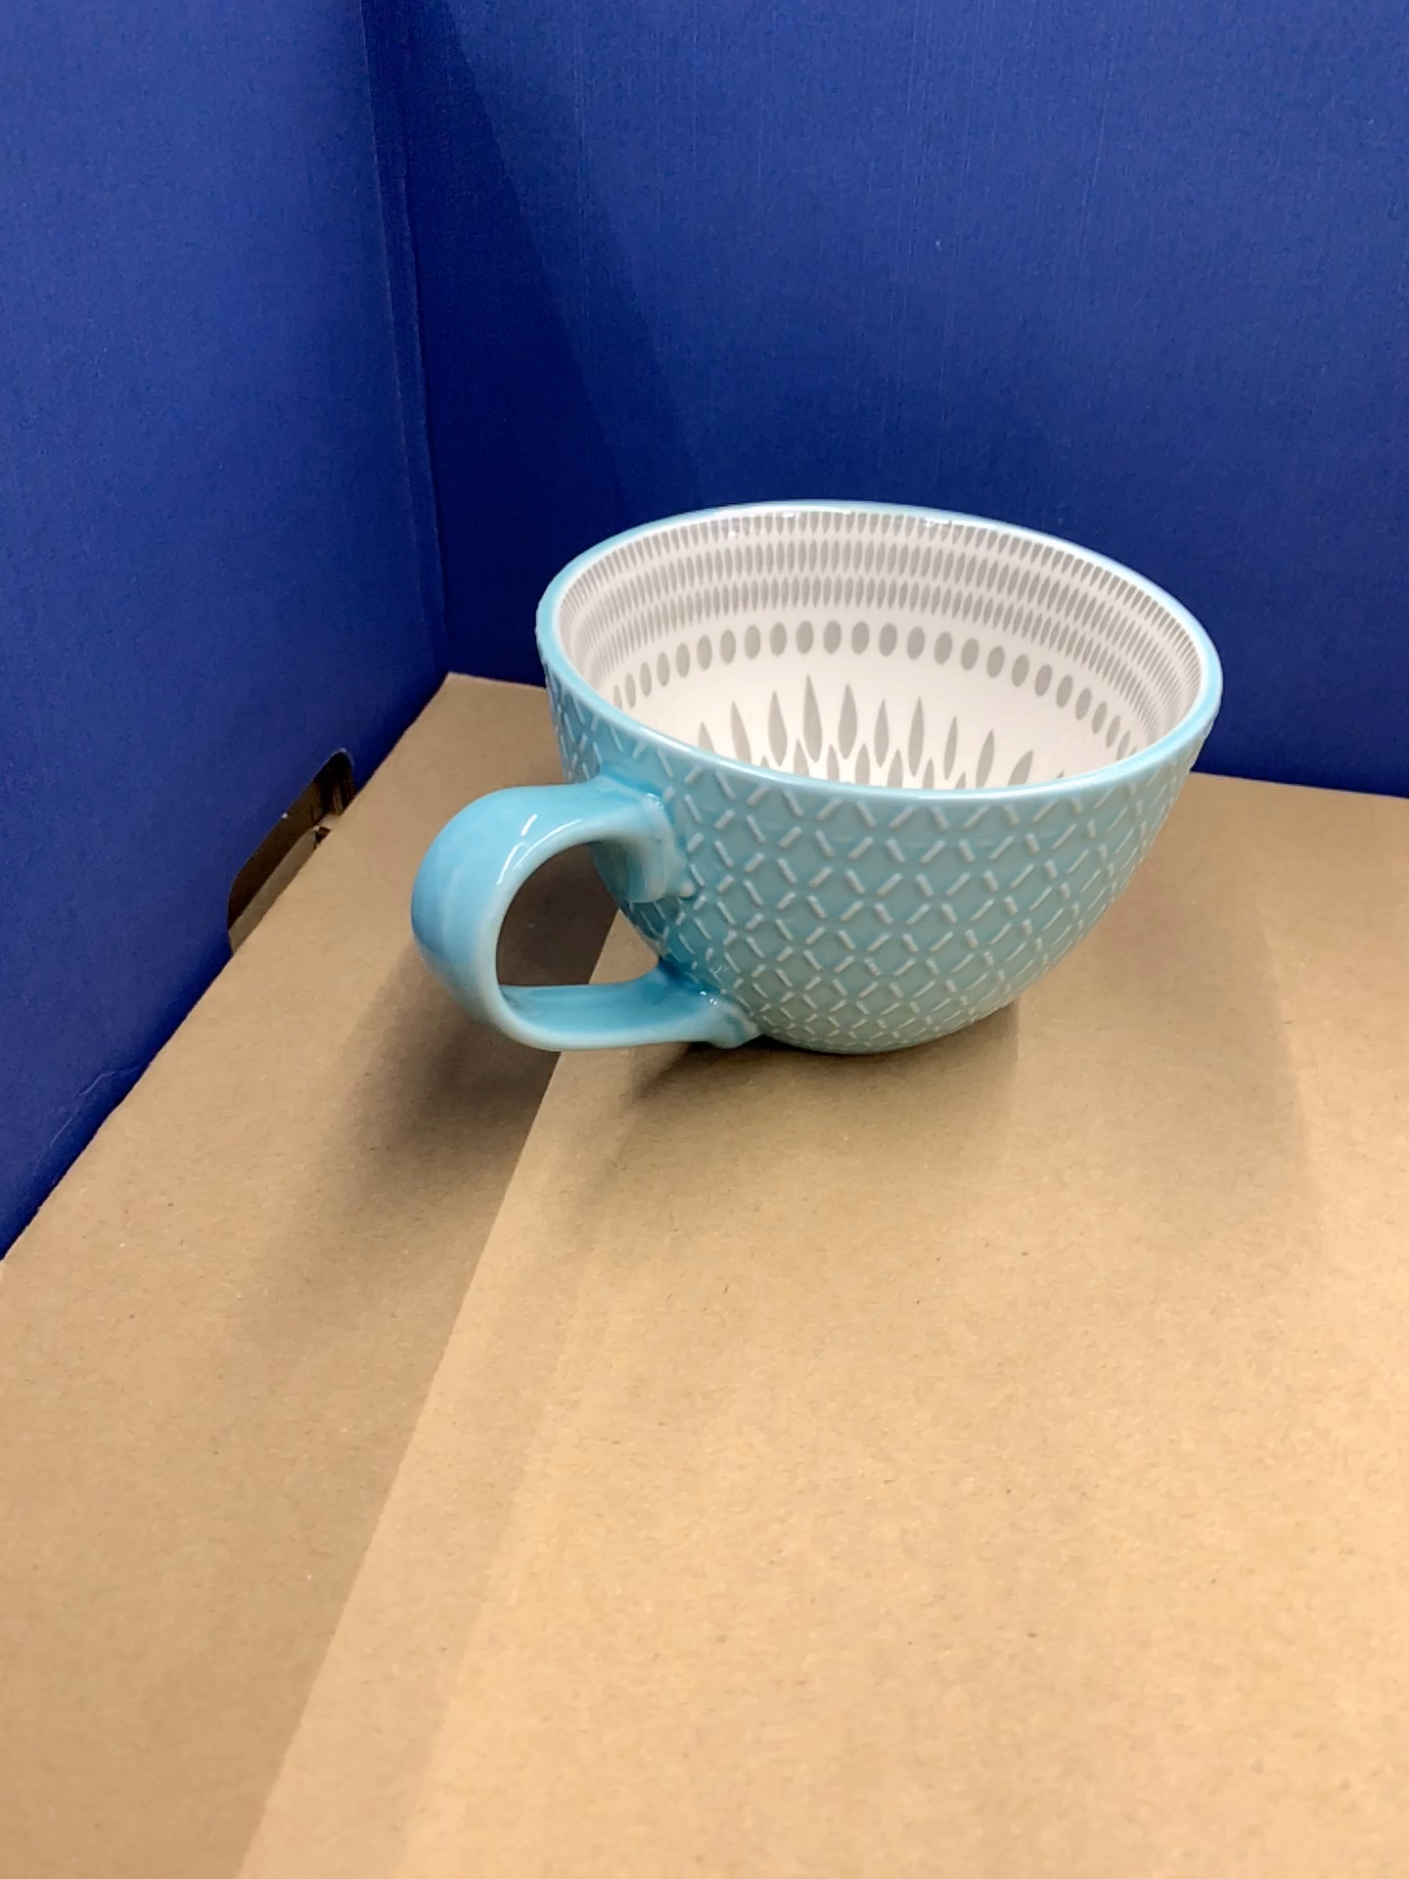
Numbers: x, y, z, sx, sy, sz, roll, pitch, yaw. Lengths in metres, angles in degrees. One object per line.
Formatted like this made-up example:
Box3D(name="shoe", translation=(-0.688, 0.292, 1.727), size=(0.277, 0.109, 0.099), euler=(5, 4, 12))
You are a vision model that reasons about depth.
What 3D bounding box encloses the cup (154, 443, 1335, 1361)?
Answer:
Box3D(name="cup", translation=(0.009, -0.024, 0.249), size=(0.152, 0.059, 0.112), euler=(-27, 48, -35))
